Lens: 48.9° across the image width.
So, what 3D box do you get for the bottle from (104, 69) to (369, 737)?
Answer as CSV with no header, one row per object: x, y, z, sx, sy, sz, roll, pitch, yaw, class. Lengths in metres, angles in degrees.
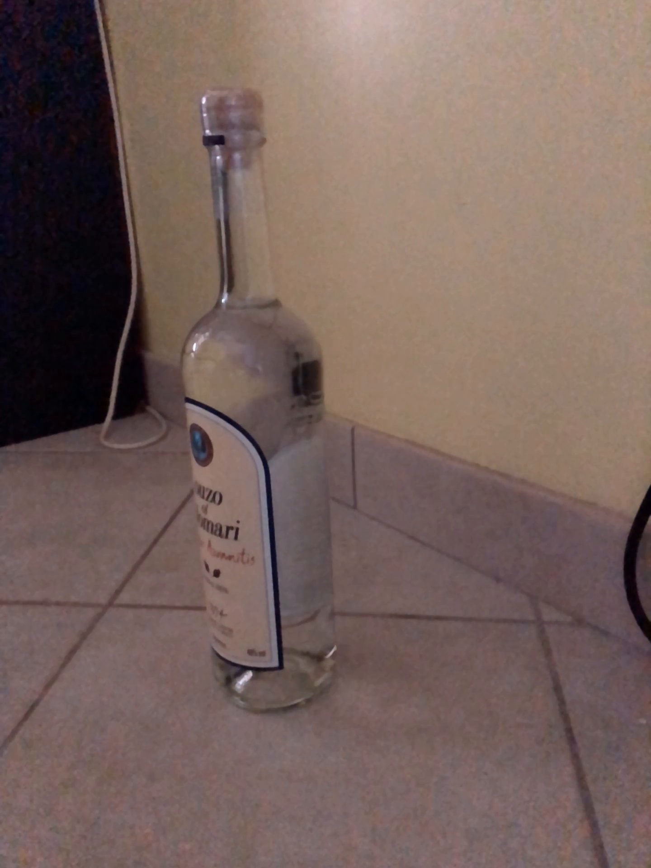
-0.038,-0.009,0.380,0.080,0.319,0.080,-3,19,1,bottle
